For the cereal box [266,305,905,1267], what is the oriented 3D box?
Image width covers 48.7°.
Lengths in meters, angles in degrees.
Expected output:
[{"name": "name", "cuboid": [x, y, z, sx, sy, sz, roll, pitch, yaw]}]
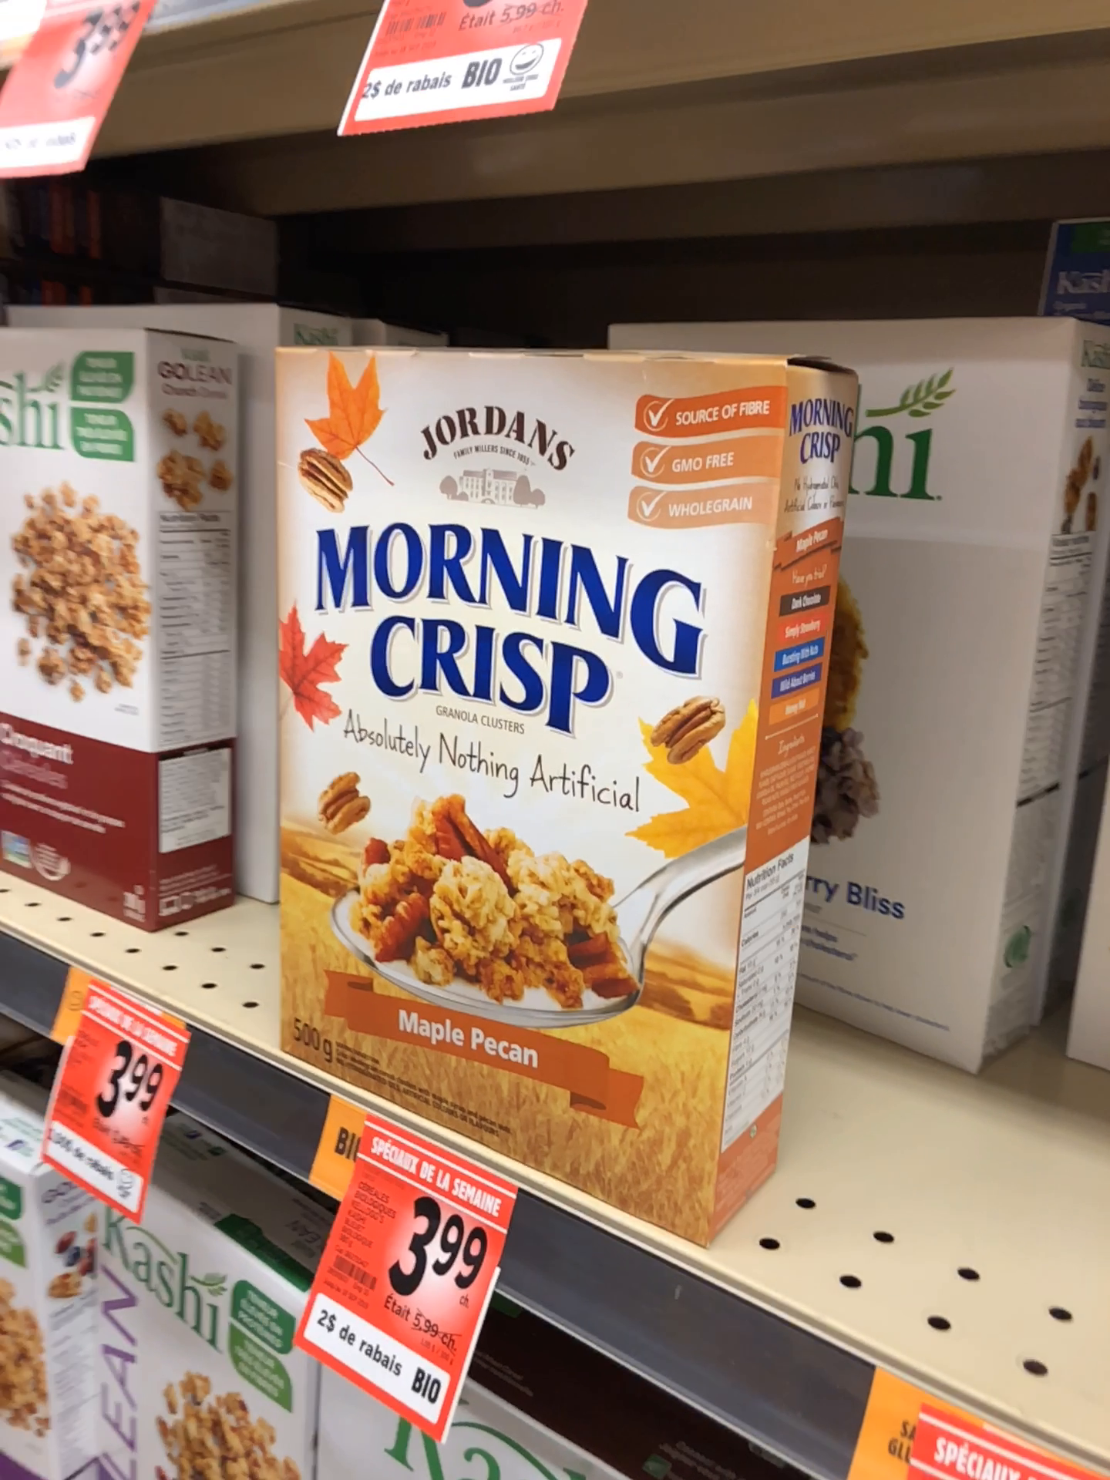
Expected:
[{"name": "cereal box", "cuboid": [-0.007, 0.002, 0.389, 0.190, 0.259, 0.050, 13, 18, 33]}]
